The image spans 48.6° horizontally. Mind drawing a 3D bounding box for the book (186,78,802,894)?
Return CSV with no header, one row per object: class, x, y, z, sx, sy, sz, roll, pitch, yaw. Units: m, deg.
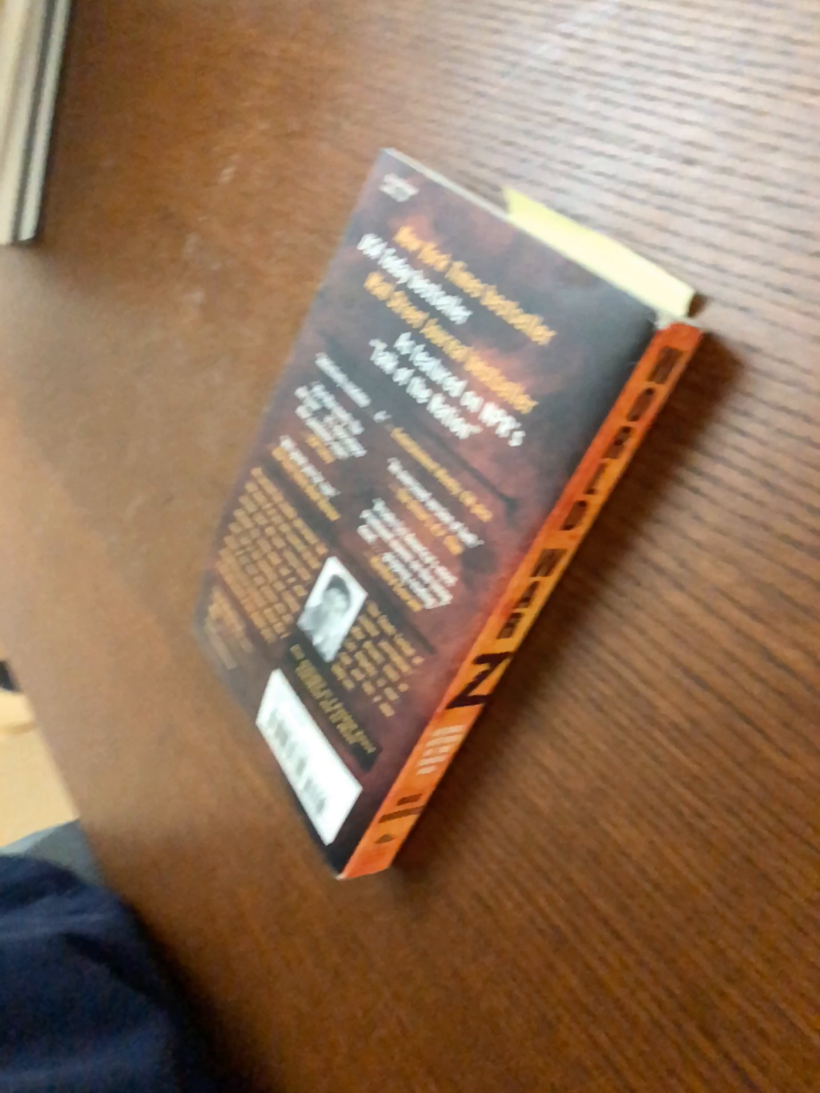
book,0.001,-0.018,0.299,0.141,0.030,0.220,49,122,38
